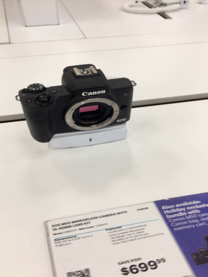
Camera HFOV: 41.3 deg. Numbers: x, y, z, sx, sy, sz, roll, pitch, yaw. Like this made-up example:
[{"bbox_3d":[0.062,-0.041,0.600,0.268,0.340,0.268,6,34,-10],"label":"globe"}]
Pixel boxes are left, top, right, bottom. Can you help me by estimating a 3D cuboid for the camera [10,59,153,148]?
[{"bbox_3d":[-0.026,-0.041,0.321,0.137,0.076,0.054,-10,49,-11],"label":"camera"}]
